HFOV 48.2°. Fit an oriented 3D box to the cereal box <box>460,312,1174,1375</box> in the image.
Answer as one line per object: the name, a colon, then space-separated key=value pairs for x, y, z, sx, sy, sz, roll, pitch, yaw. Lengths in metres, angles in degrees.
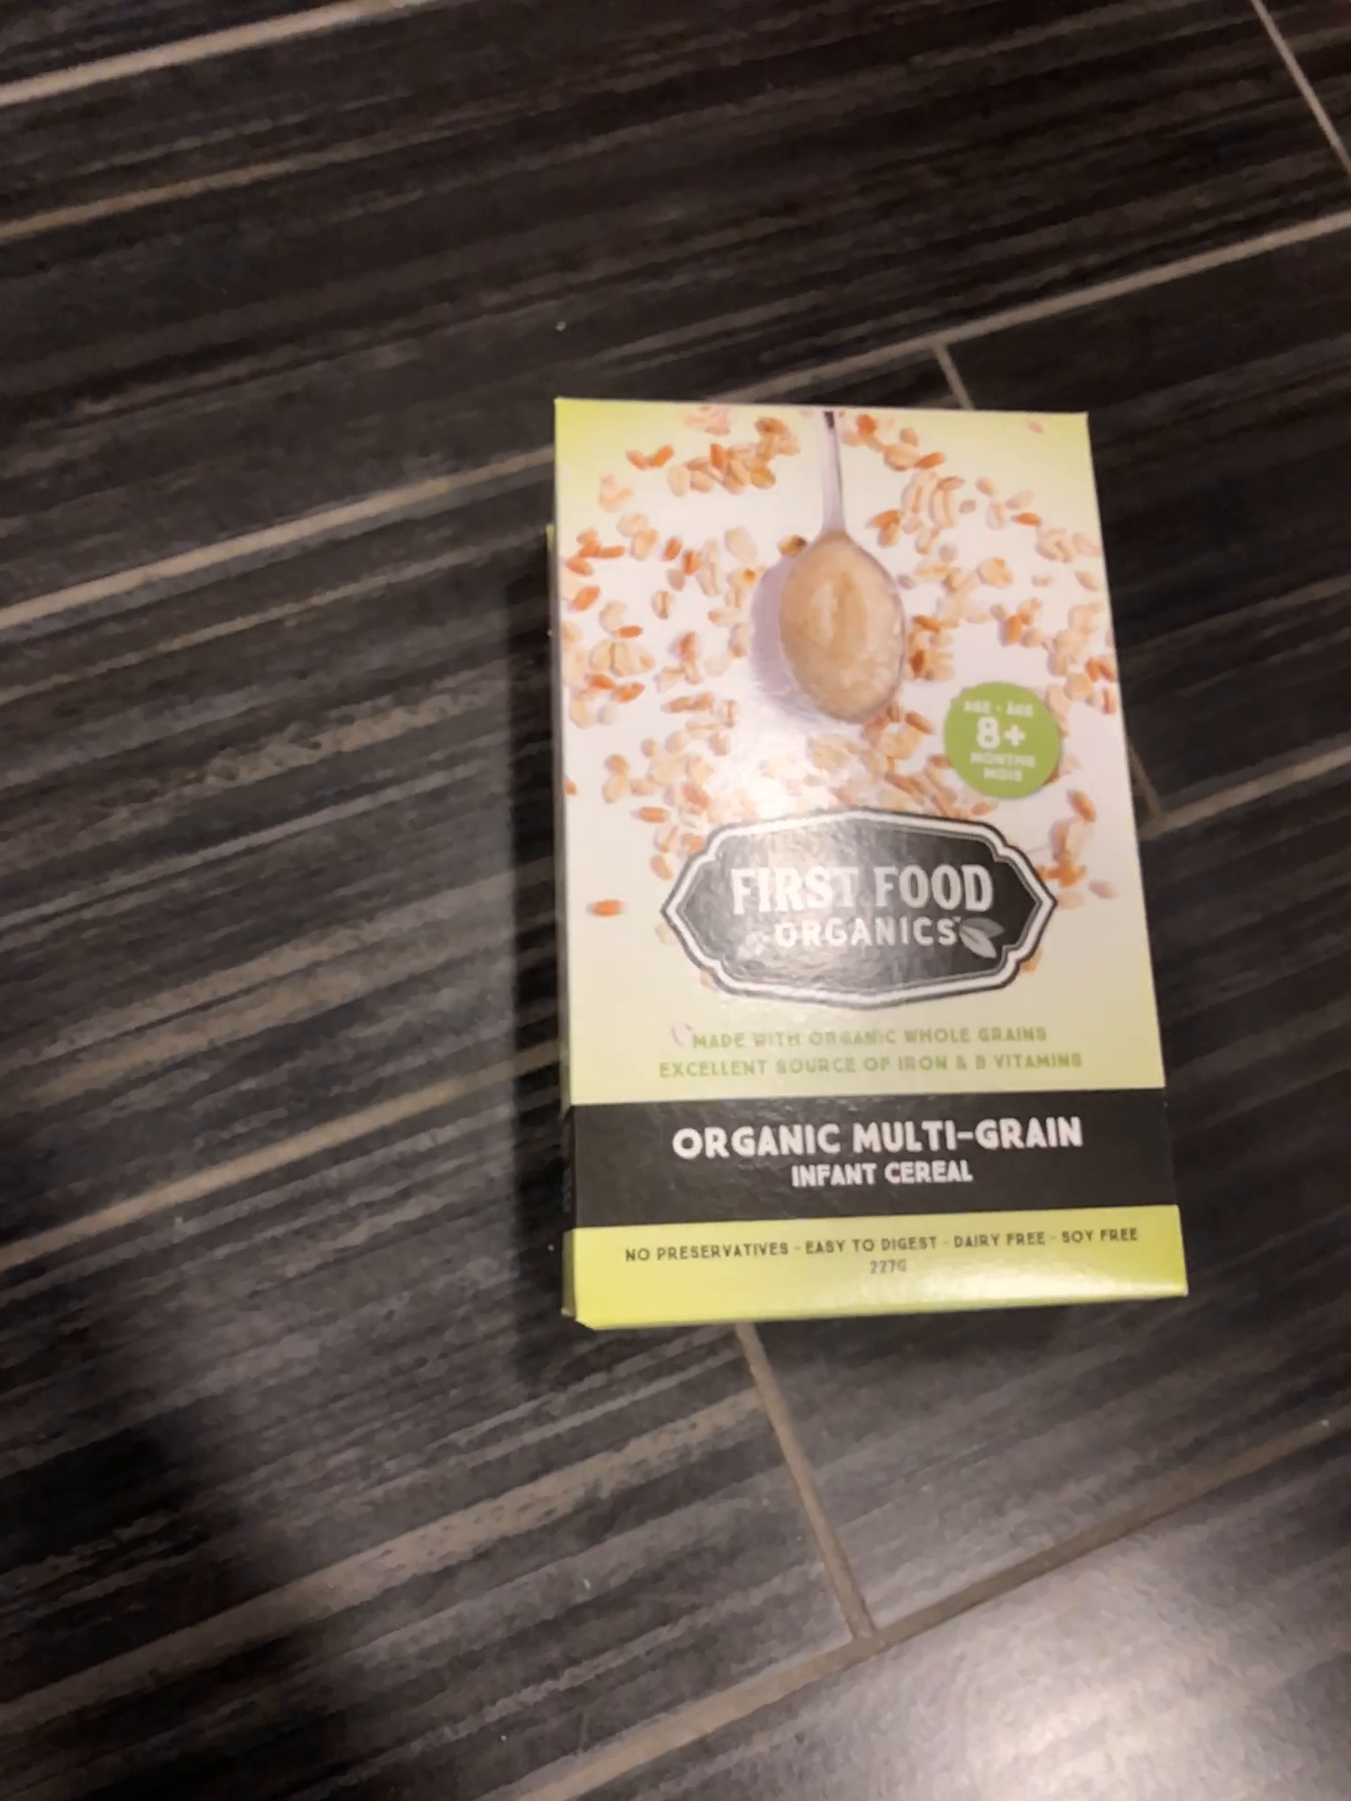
cereal box: x=0.023 y=-0.014 z=0.350 sx=0.140 sy=0.060 sz=0.230 roll=0 pitch=75 yaw=-6
